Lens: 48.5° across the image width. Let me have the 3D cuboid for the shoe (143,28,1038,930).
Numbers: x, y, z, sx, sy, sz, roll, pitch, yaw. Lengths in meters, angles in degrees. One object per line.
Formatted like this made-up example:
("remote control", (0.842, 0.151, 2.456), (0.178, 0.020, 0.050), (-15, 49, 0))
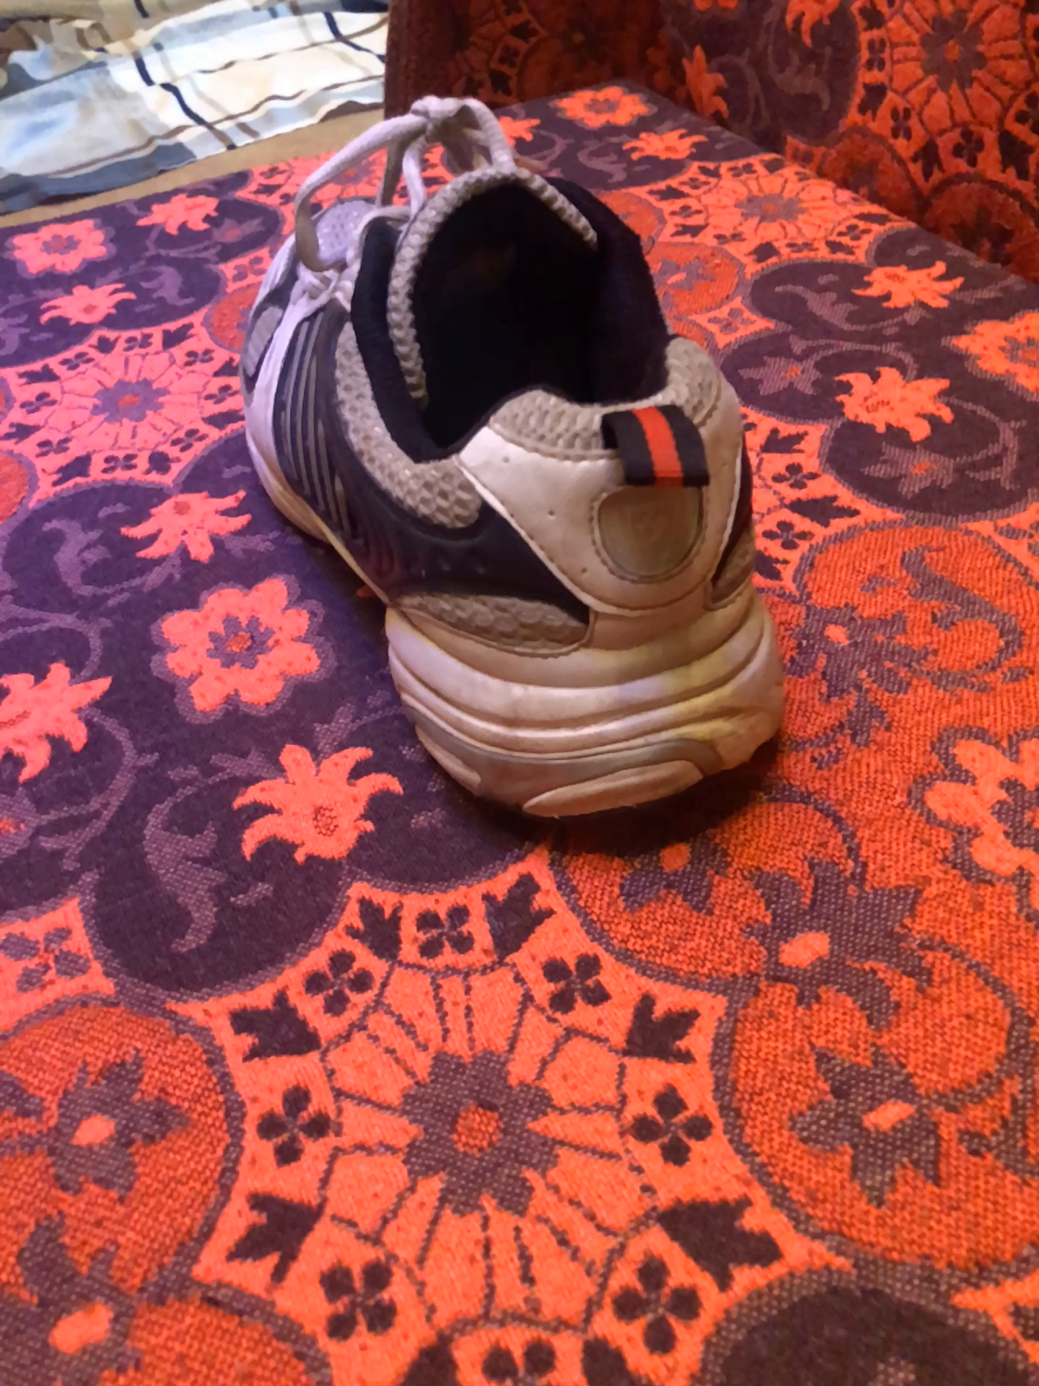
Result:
("shoe", (-0.010, -0.096, 0.348), (0.120, 0.109, 0.301), (-20, 45, -15))
